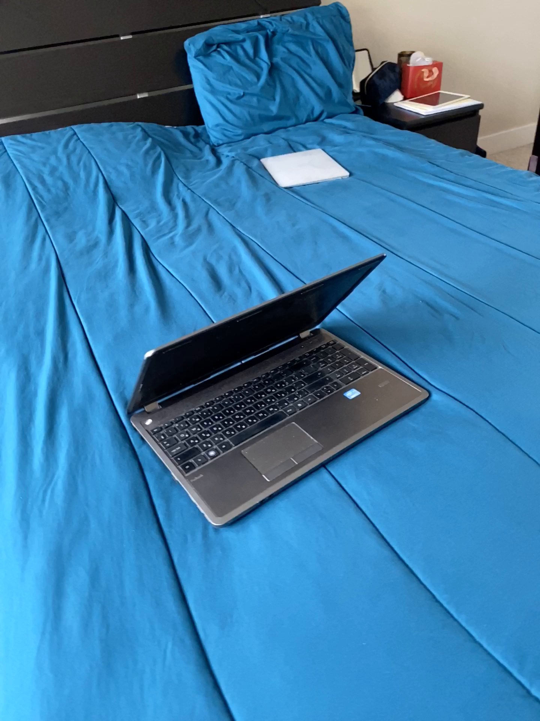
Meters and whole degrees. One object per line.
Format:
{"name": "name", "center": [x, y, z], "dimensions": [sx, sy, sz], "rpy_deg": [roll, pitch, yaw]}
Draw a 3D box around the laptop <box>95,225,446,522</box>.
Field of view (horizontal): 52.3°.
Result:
{"name": "laptop", "center": [0.006, -0.013, 0.760], "dimensions": [0.369, 0.192, 0.256], "rpy_deg": [-26, 39, -26]}
